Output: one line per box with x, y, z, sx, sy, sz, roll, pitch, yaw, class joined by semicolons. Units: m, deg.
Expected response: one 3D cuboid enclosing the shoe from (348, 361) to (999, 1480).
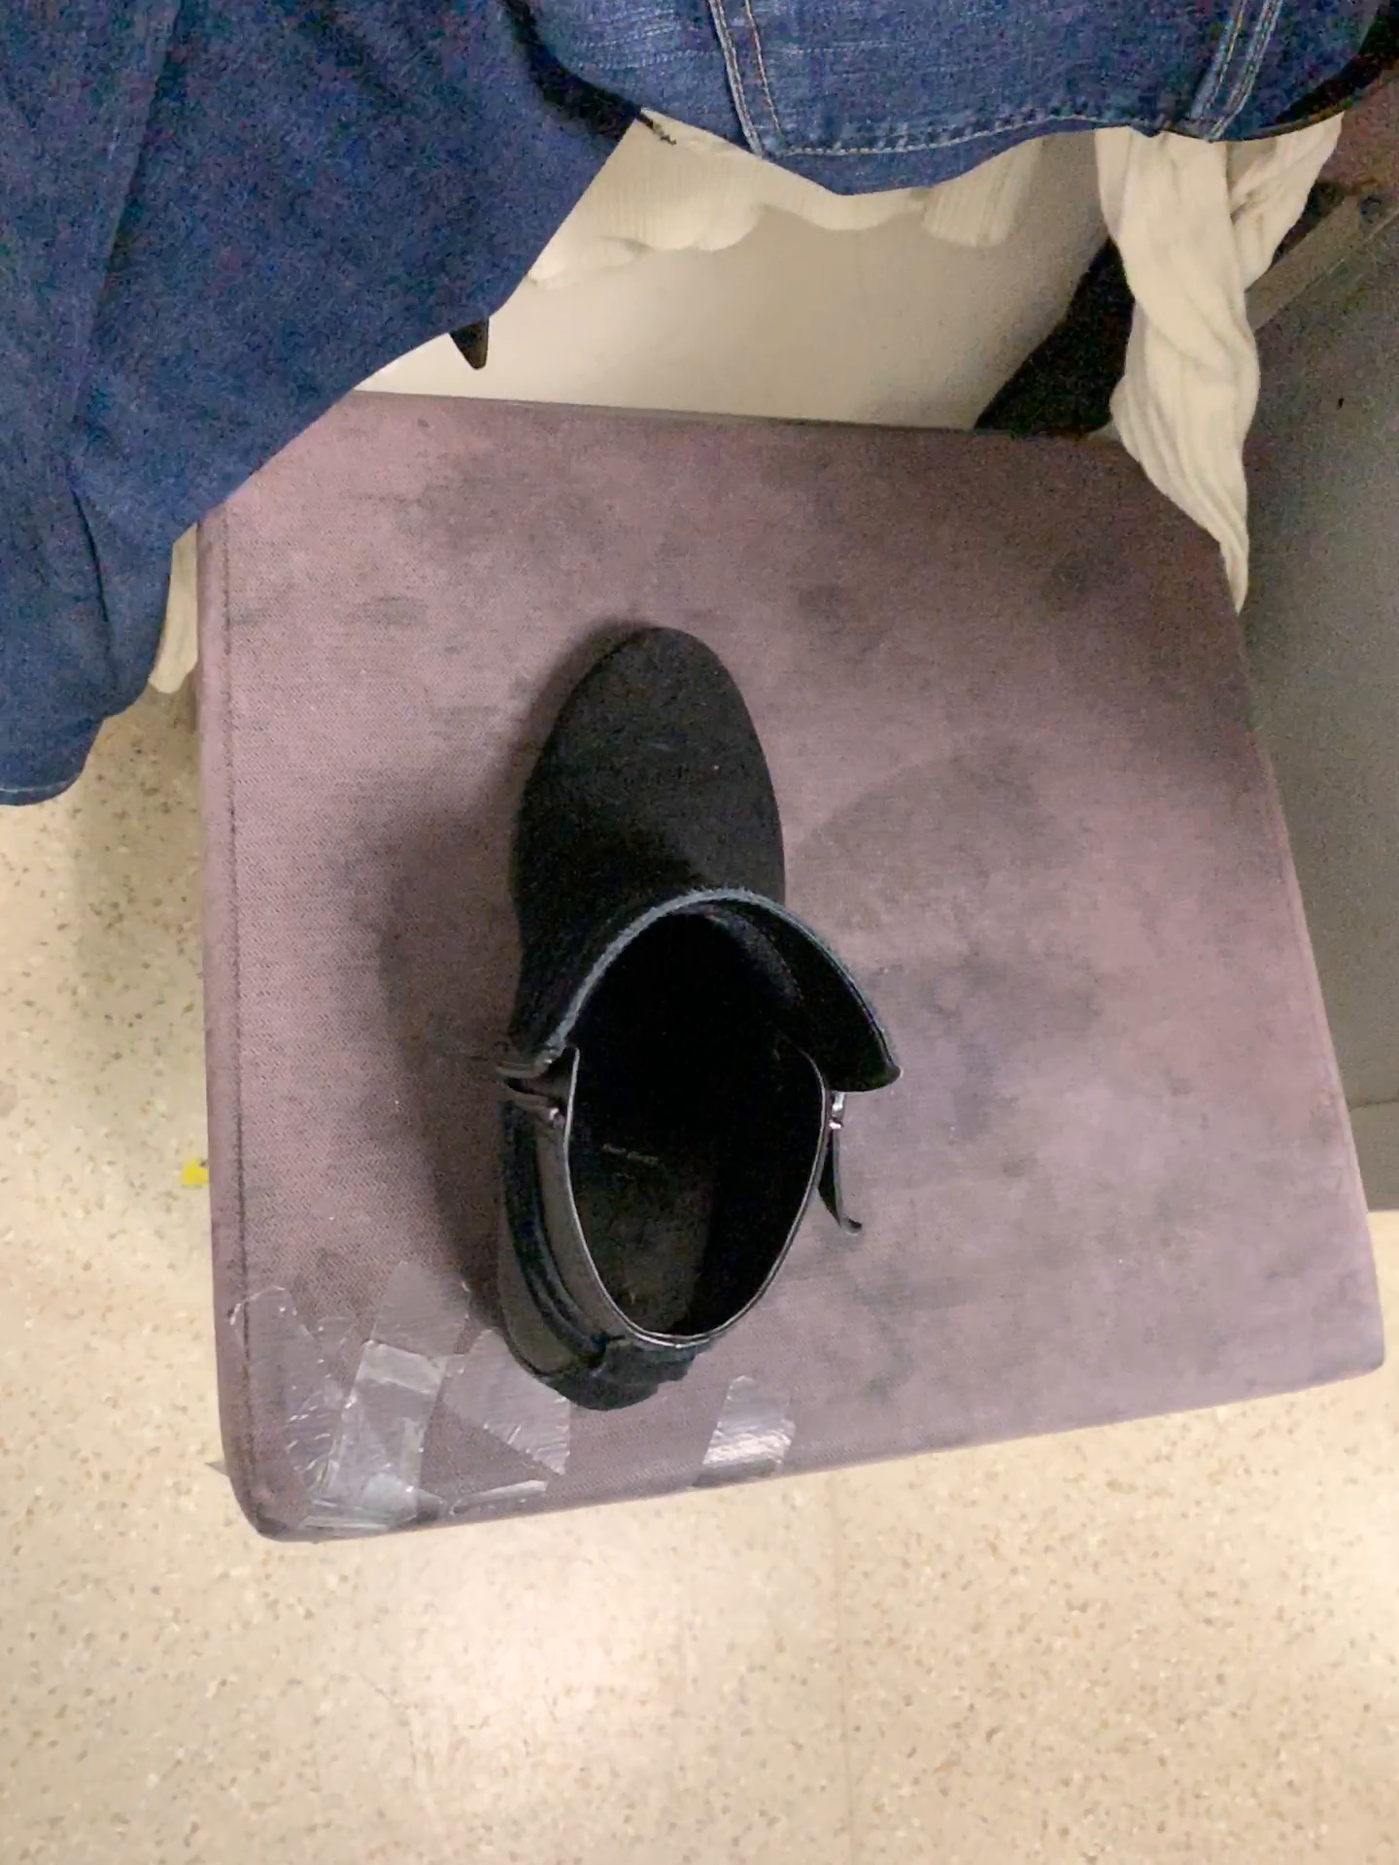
-0.010;0.002;0.416;0.105;0.135;0.266;16;72;-12;shoe
